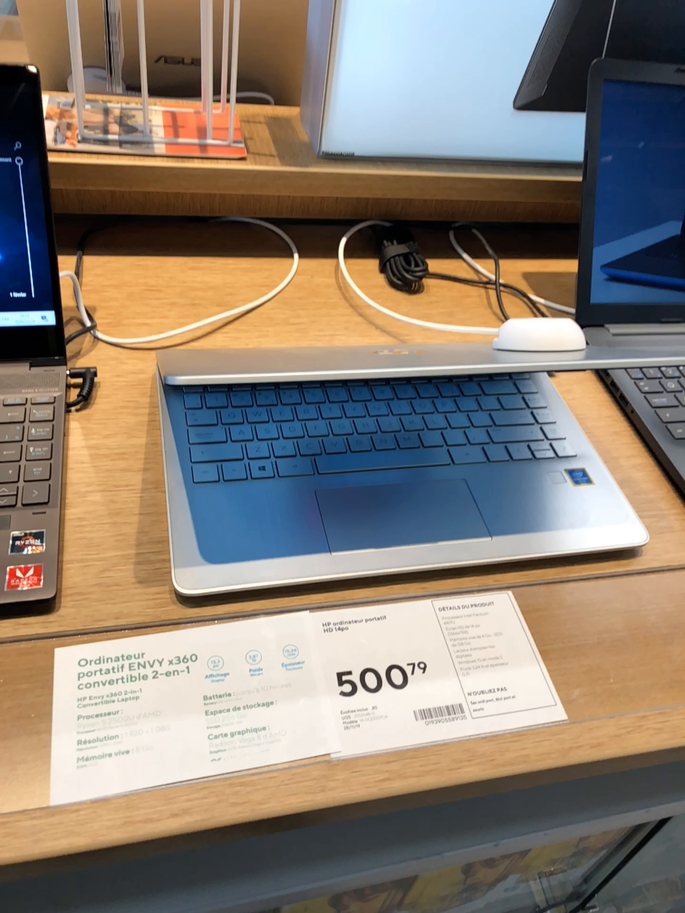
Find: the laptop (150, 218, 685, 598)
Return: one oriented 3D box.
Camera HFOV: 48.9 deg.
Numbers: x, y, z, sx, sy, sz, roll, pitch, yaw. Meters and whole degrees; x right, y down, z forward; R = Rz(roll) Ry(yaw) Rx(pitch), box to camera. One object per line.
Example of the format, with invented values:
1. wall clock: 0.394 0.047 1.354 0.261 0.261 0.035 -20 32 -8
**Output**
1. laptop: 0.042 -0.049 0.500 0.314 0.110 0.217 -4 47 -14
